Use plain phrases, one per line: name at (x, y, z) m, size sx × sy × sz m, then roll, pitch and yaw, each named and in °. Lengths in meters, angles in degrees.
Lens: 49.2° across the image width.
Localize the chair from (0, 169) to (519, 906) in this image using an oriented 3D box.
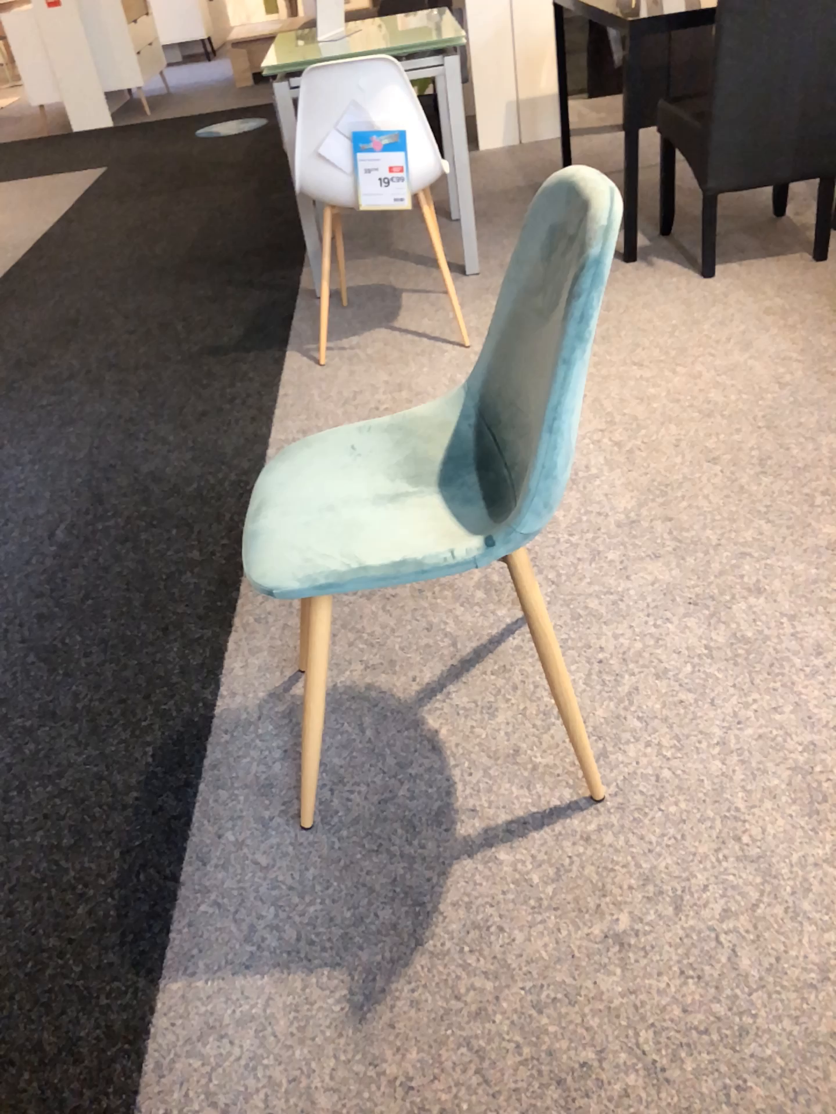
chair at (-0.213, -0.029, 1.308) m, size 0.550 × 0.836 × 0.472 m, roll -12°, pitch 34°, yaw -7°
